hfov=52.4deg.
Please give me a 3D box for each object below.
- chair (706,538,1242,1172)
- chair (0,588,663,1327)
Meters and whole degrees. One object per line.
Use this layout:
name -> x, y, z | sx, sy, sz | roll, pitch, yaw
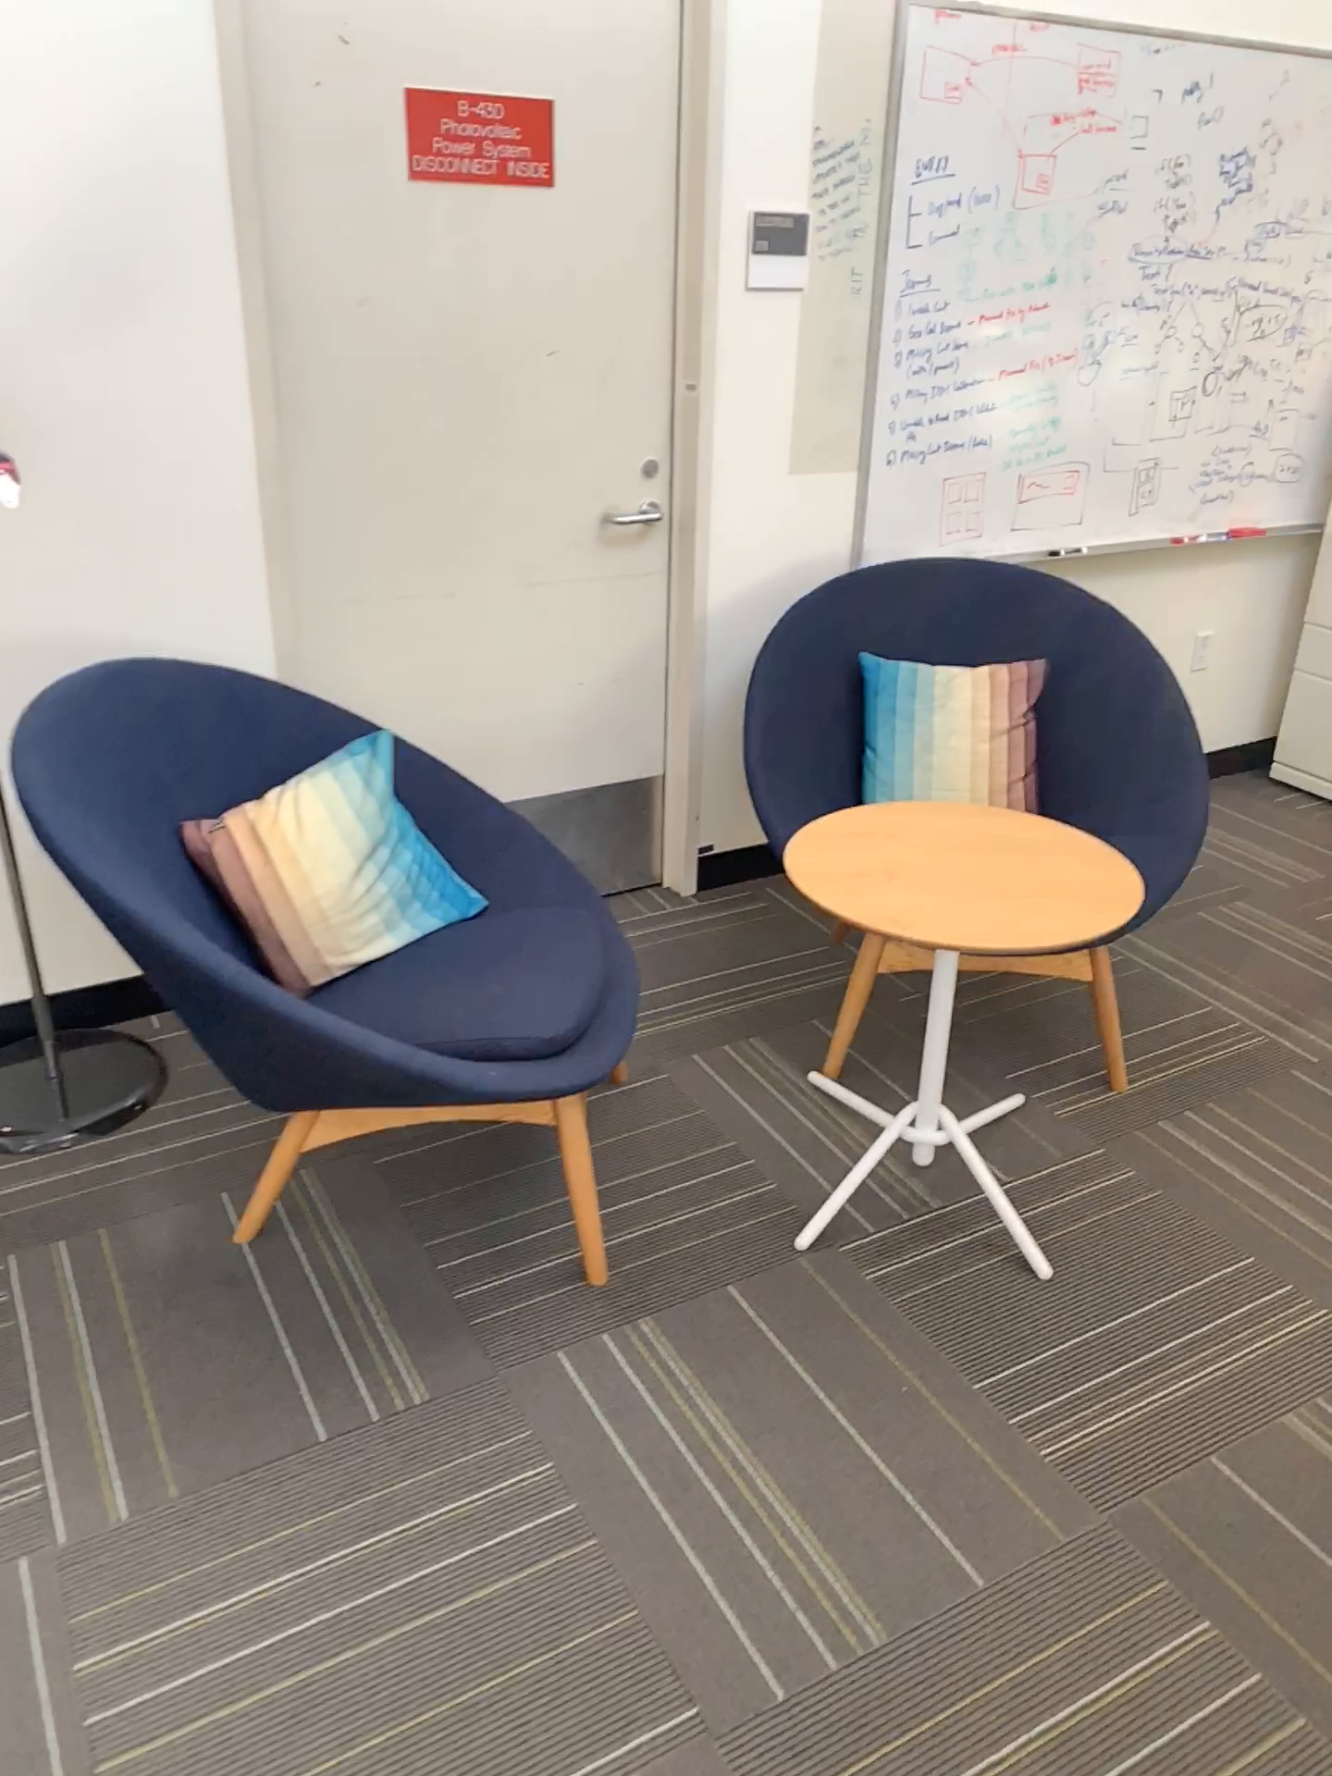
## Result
chair -> 0.593, -0.142, 2.860 | 0.831, 0.945, 0.985 | 6, 25, 10
chair -> -0.488, 0.048, 2.174 | 0.840, 0.835, 0.794 | 5, 25, 7
